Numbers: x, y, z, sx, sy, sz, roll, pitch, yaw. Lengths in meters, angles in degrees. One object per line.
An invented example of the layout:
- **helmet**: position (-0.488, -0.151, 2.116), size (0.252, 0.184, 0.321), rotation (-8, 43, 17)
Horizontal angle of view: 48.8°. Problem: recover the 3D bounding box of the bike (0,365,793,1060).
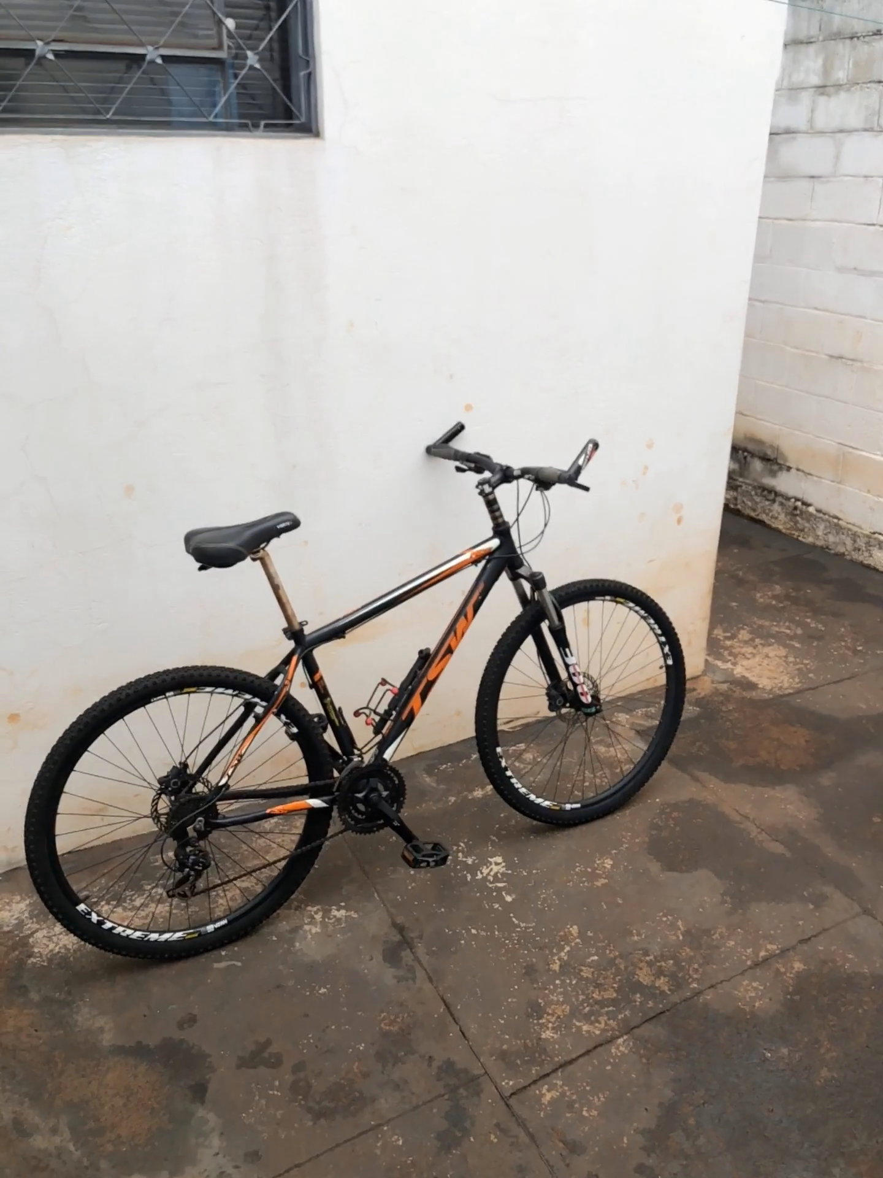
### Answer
- **bike**: position (-0.124, 0.140, 2.409), size (1.766, 1.085, 0.725), rotation (-13, 26, -26)
